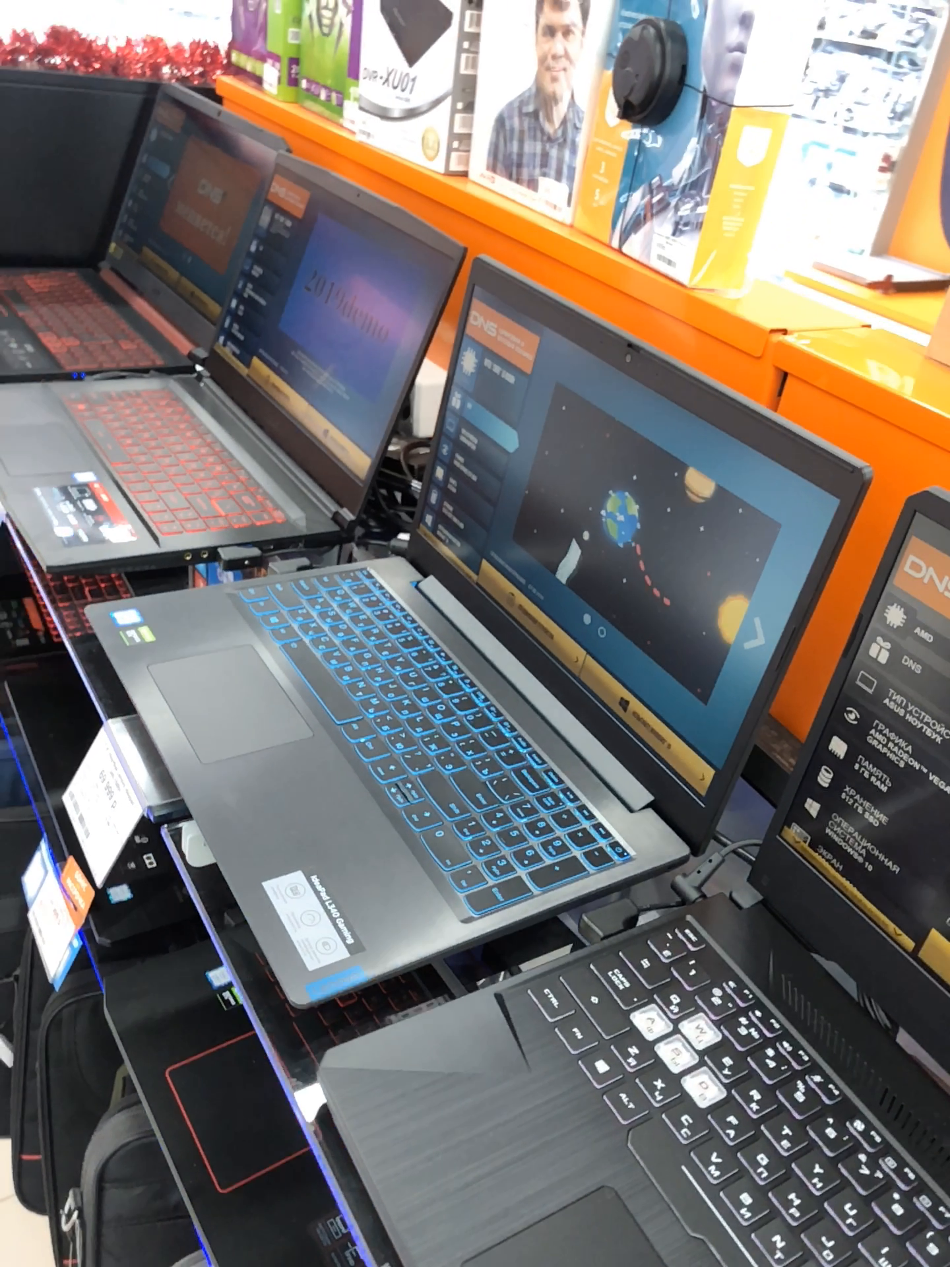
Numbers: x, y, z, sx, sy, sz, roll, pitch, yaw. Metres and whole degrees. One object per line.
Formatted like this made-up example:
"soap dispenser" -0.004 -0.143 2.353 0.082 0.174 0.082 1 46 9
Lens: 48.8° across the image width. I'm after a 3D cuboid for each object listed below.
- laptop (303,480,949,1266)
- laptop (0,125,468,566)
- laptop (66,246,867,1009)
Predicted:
"laptop" 0.154 0.151 0.327 0.273 0.244 0.369 -10 37 -30
"laptop" -0.250 -0.265 0.895 0.319 0.224 0.357 -12 38 -32
"laptop" -0.041 -0.049 0.601 0.278 0.235 0.358 -11 38 -31
